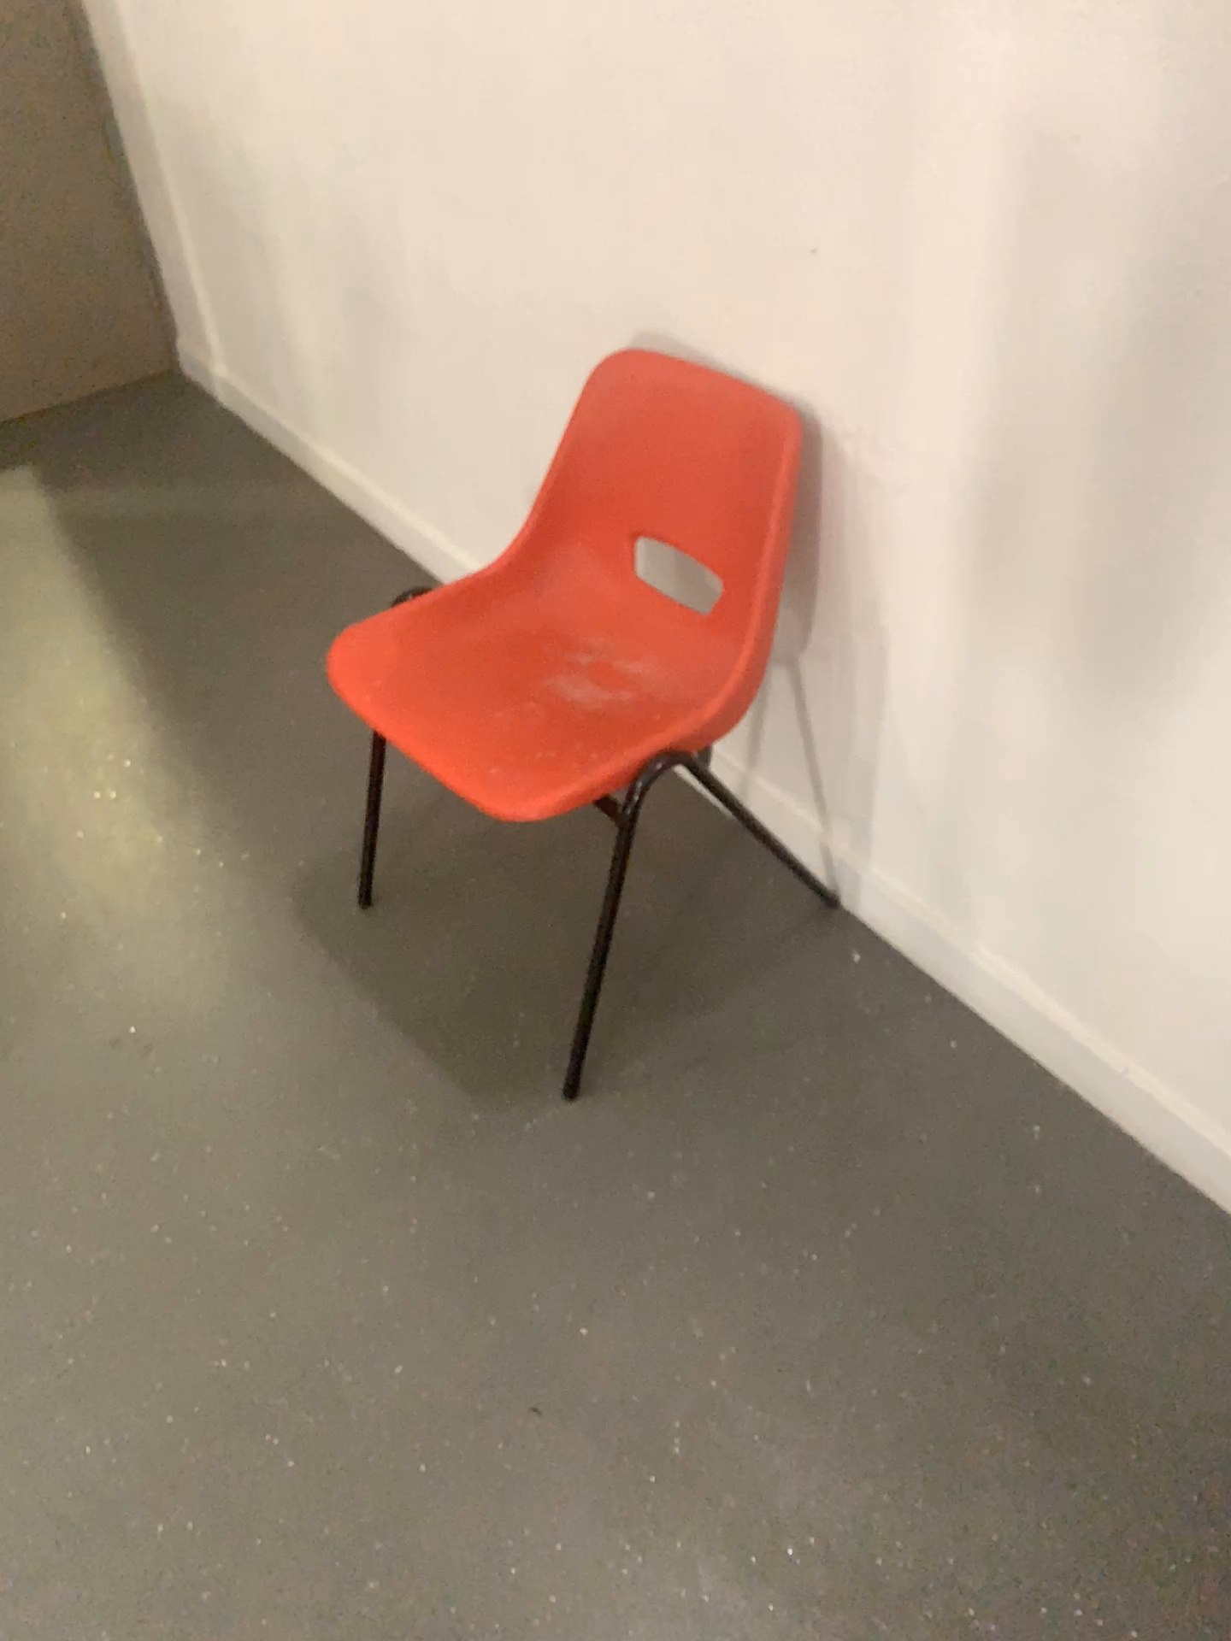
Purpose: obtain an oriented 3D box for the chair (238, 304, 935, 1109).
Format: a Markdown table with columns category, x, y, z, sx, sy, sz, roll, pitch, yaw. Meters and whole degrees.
| category | x | y | z | sx | sy | sz | roll | pitch | yaw |
| --- | --- | --- | --- | --- | --- | --- | --- | --- | --- |
| chair | -0.012 | -0.165 | 1.646 | 0.592 | 0.713 | 0.513 | -32 | 48 | -27 |
